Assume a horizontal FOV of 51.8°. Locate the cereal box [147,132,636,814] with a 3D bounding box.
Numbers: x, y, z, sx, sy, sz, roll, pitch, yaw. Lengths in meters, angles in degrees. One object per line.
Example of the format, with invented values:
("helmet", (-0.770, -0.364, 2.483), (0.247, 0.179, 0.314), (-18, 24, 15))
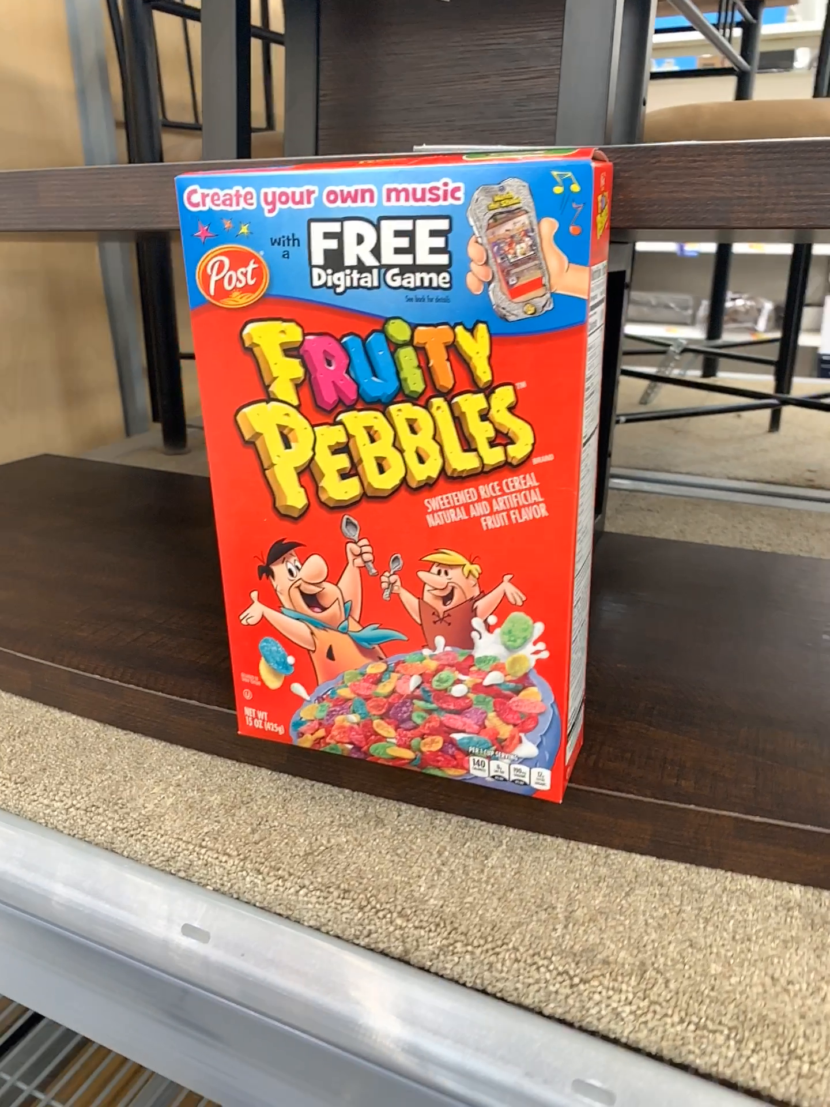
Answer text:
("cereal box", (-0.011, -0.037, 0.435), (0.210, 0.308, 0.060), (7, 22, 19))
